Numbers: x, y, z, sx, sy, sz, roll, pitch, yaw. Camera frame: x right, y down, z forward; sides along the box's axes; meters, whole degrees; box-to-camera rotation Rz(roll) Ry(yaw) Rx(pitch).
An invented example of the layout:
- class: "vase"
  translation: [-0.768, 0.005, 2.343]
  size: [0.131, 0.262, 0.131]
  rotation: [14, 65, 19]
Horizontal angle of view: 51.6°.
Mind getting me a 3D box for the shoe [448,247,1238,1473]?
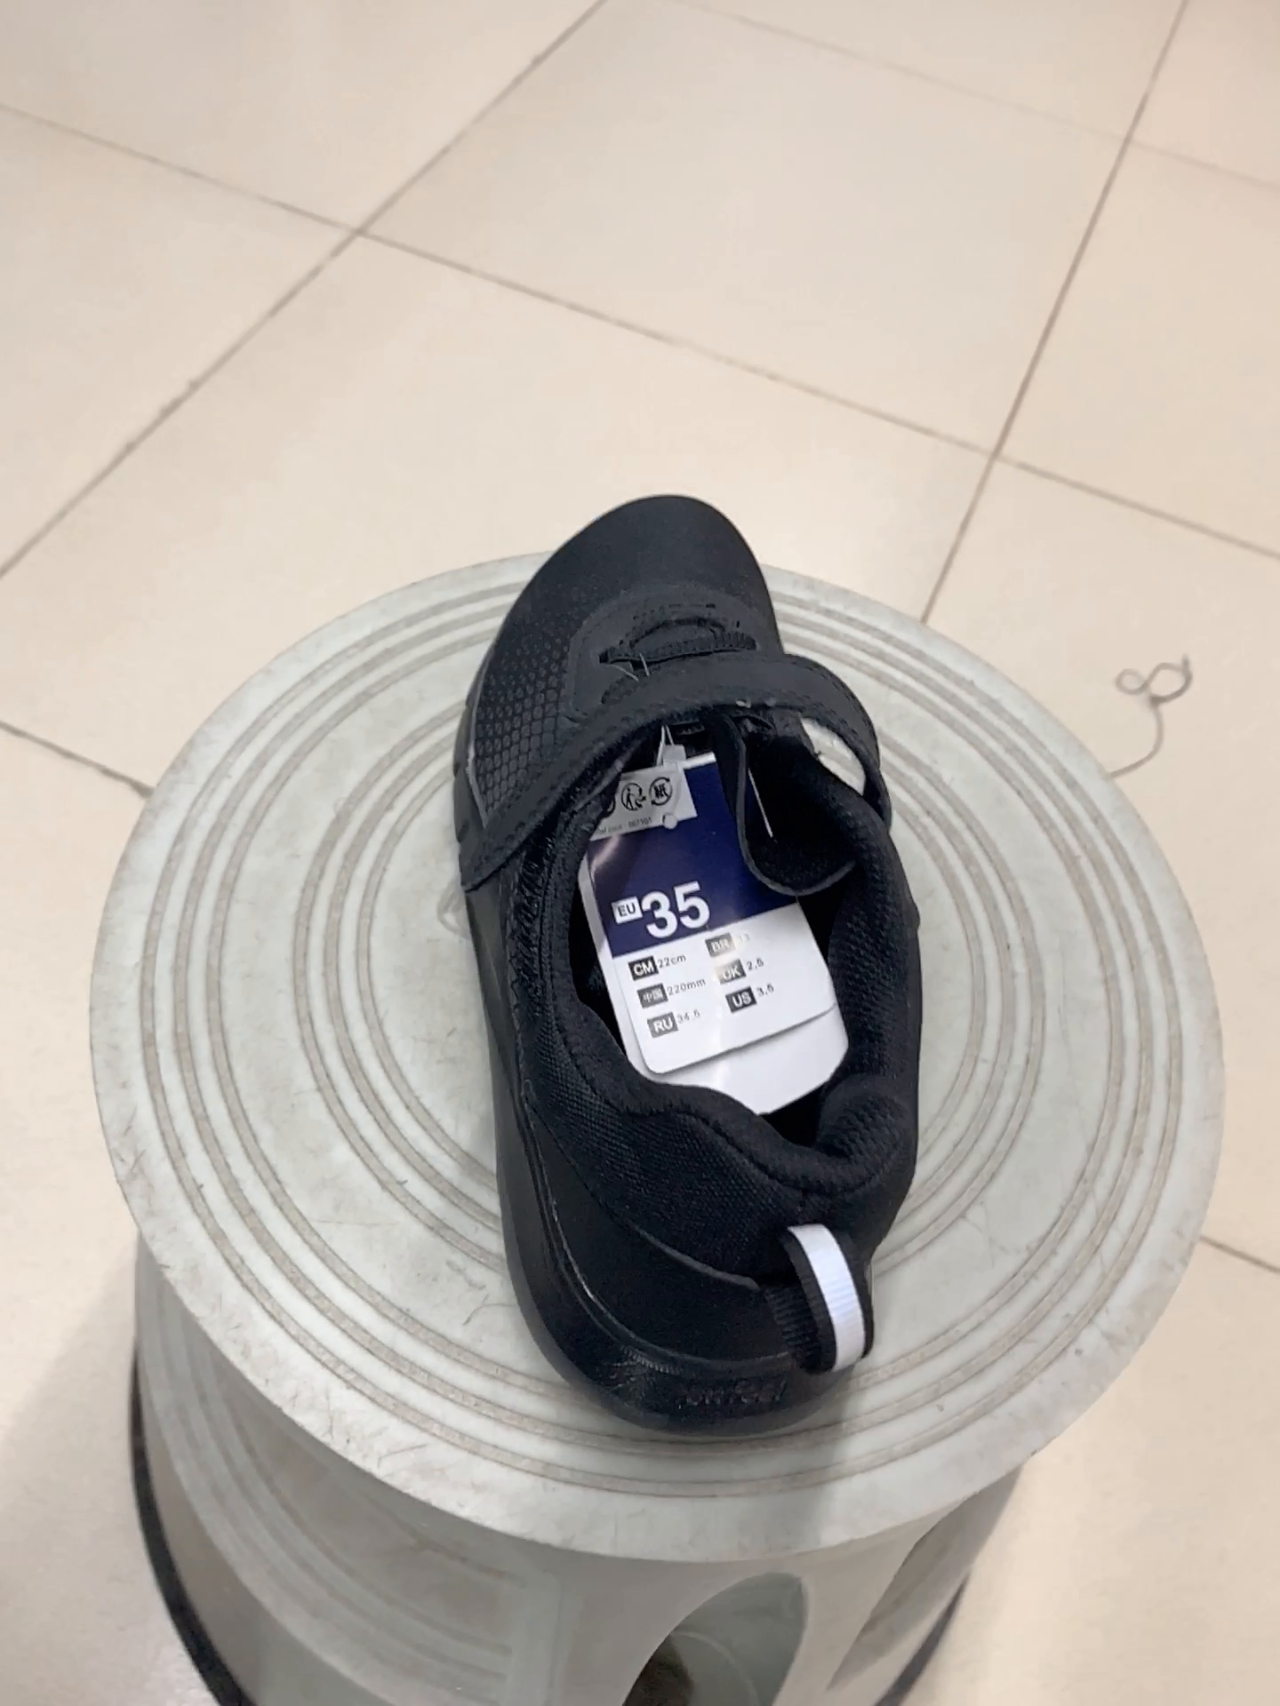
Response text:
- class: "shoe"
  translation: [0.015, -0.017, 0.281]
  size: [0.100, 0.080, 0.251]
  rotation: [-2, 57, -9]
